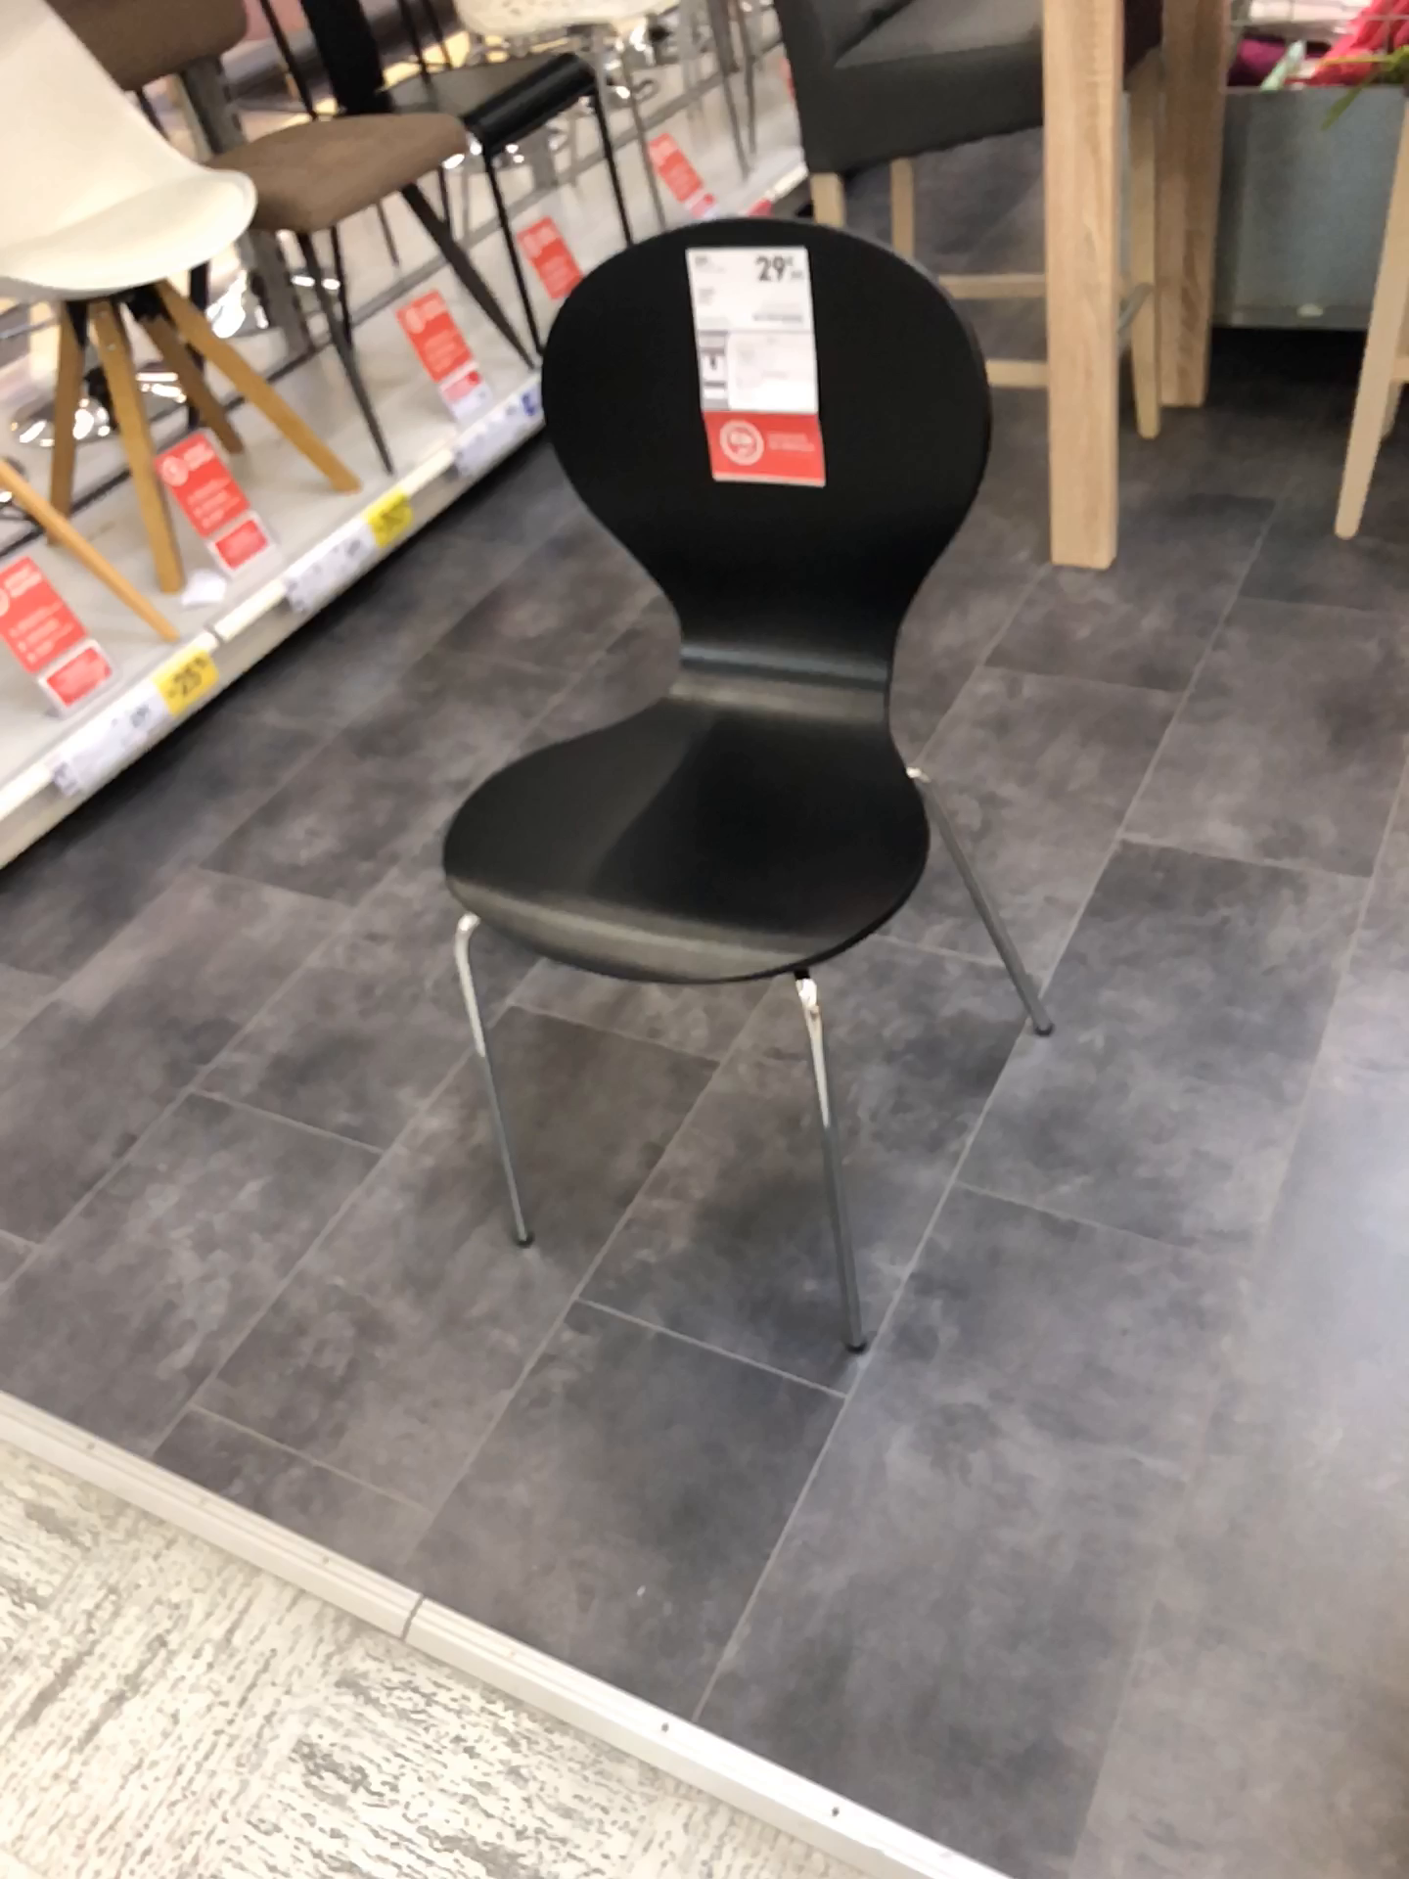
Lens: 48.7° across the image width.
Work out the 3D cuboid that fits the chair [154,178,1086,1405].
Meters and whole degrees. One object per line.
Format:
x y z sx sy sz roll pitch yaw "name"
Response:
0.026 -0.117 1.391 0.490 0.895 0.503 12 46 25 "chair"
